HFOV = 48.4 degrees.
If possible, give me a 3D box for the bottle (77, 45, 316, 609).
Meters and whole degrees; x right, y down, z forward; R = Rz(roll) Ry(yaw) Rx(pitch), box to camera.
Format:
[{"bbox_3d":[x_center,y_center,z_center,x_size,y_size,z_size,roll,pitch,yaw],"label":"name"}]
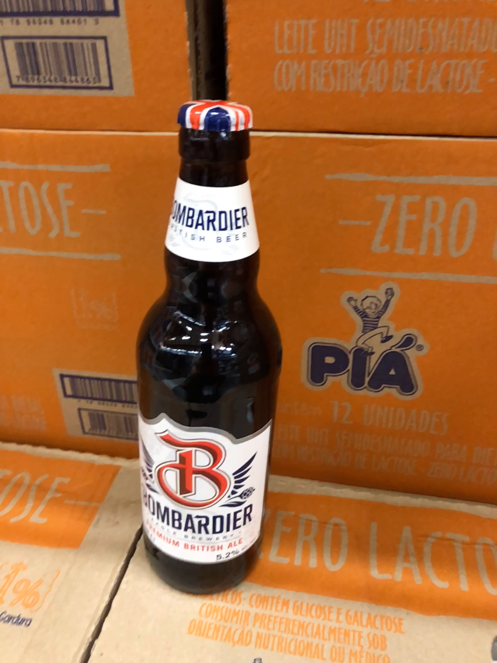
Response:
[{"bbox_3d":[-0.018,0.013,0.260,0.070,0.258,0.060,8,29,11],"label":"bottle"}]
